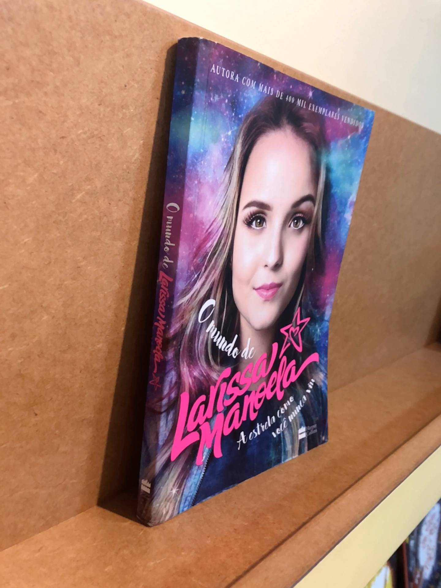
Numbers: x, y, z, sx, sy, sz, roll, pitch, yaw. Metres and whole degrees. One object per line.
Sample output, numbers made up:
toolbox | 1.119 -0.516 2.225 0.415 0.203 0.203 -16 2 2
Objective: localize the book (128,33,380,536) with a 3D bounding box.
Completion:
book | 0.025 -0.001 0.272 0.020 0.222 0.150 17 15 42
